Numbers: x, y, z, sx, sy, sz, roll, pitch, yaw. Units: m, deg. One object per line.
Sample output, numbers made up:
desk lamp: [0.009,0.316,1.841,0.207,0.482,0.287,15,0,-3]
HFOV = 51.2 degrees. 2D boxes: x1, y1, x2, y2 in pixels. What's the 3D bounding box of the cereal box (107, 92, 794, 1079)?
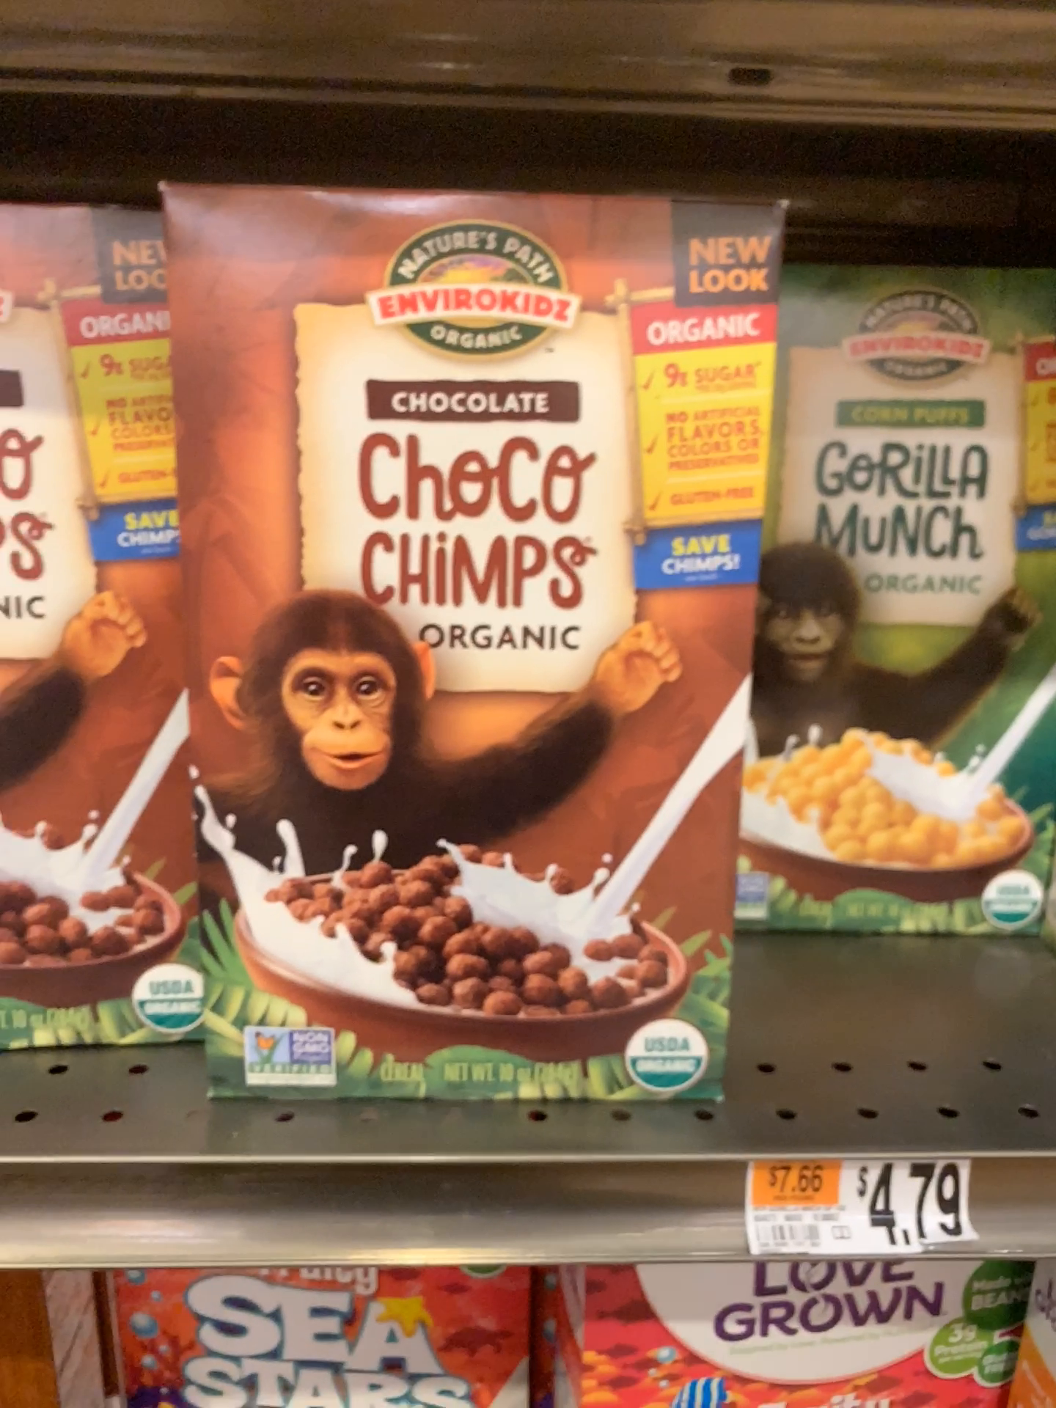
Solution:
cereal box: [-0.023,-0.025,0.333,0.170,0.269,0.060,1,14,-2]
